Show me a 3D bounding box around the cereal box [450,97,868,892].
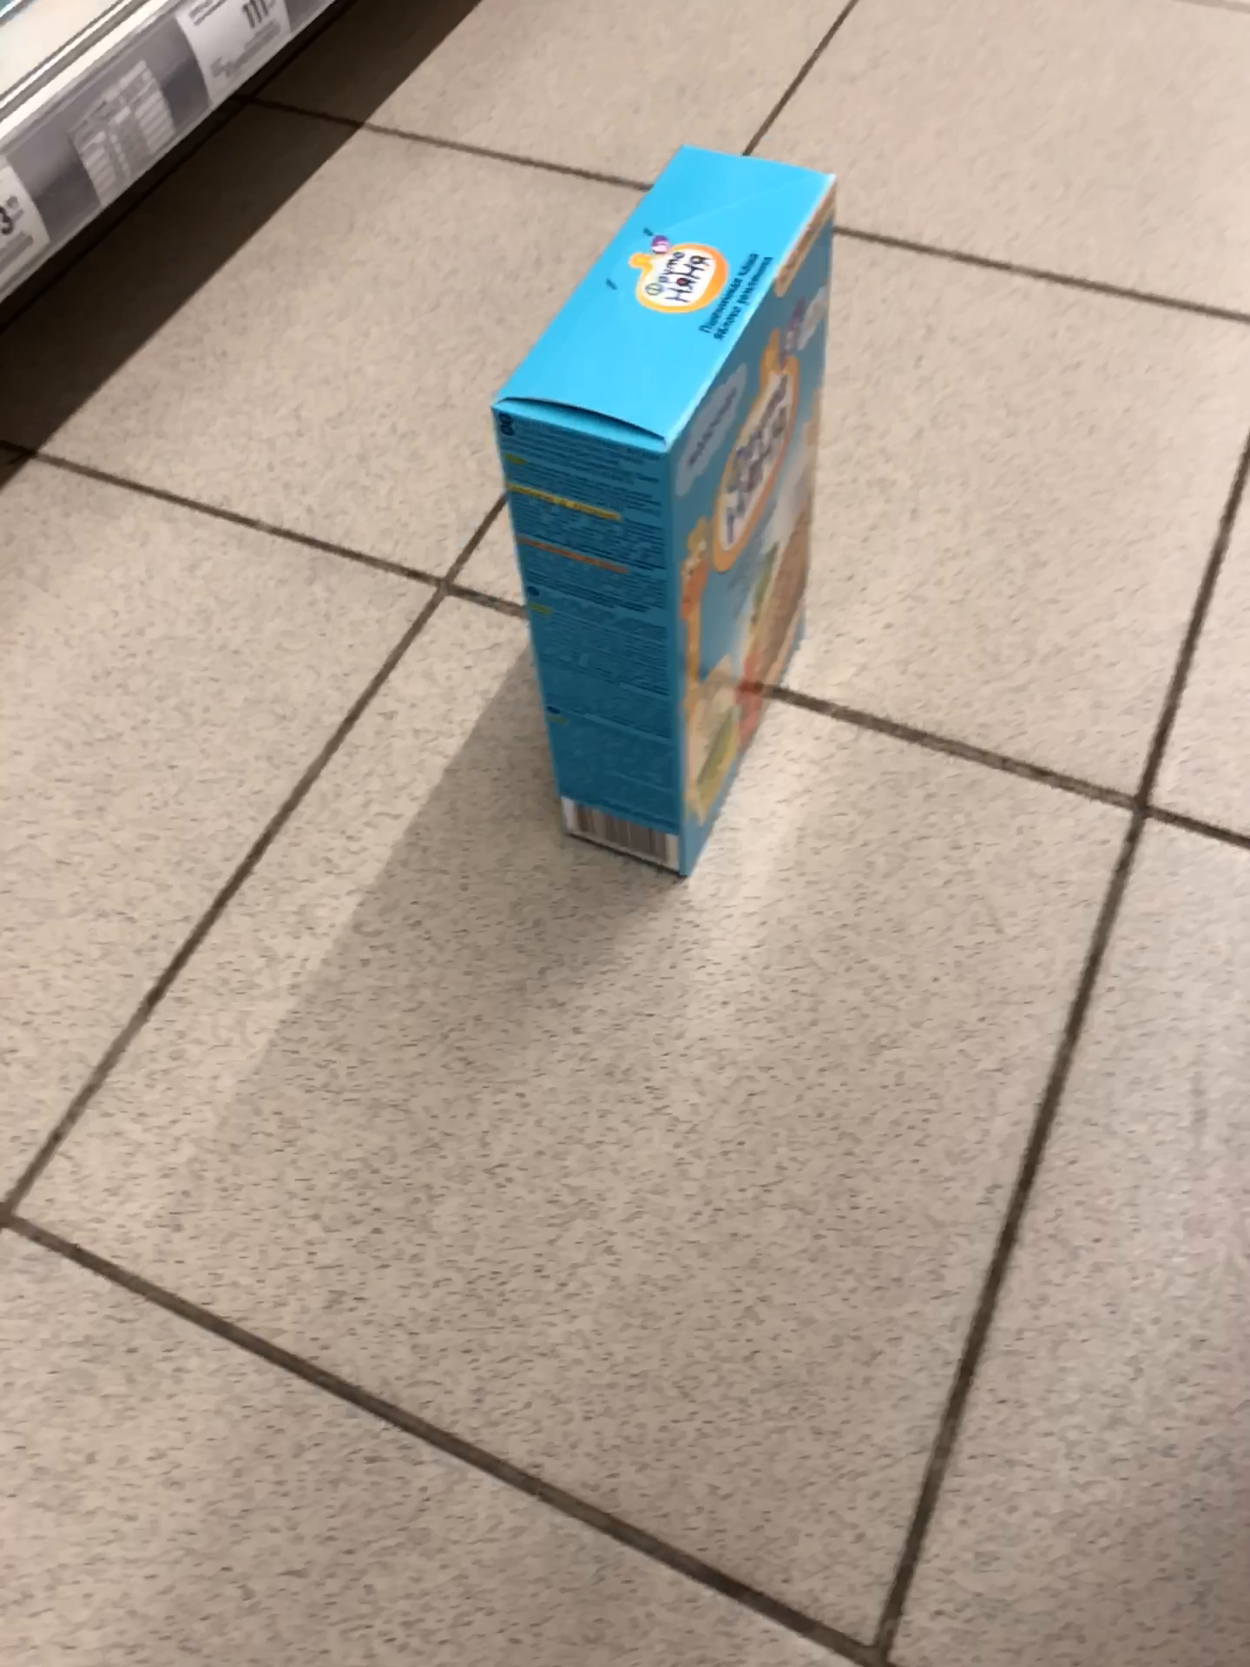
[{"bbox_3d":[0.018,-0.098,0.446,0.060,0.199,0.141,19,59,15],"label":"cereal box"}]
